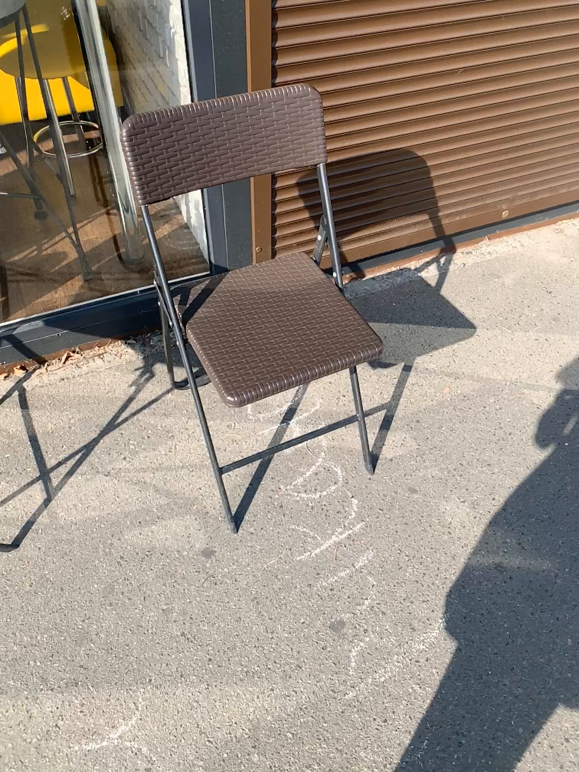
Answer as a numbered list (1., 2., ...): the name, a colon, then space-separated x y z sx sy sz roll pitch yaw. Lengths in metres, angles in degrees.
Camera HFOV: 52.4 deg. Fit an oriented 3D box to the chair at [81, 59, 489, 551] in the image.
1. chair: -0.056 -0.161 1.295 0.480 0.767 0.612 -19 53 -18
